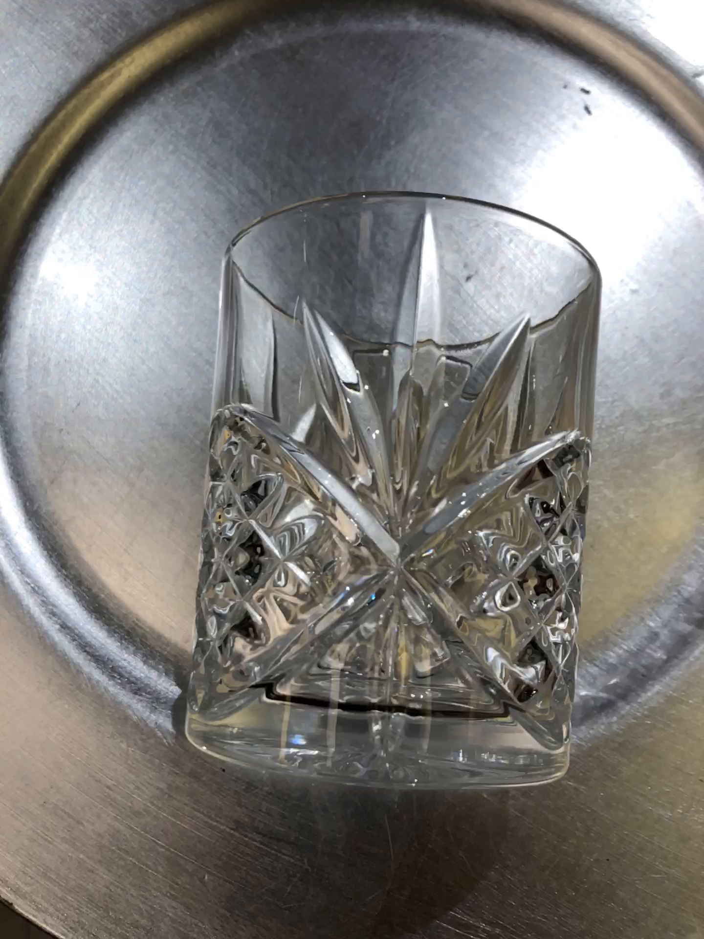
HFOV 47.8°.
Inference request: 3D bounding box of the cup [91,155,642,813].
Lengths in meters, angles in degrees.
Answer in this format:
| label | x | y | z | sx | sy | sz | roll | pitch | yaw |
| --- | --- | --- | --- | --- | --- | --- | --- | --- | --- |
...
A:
| label | x | y | z | sx | sy | sz | roll | pitch | yaw |
| --- | --- | --- | --- | --- | --- | --- | --- | --- | --- |
| cup | 0.006 | 0.003 | 0.155 | 0.080 | 0.060 | 0.100 | 4 | 80 | 4 |
